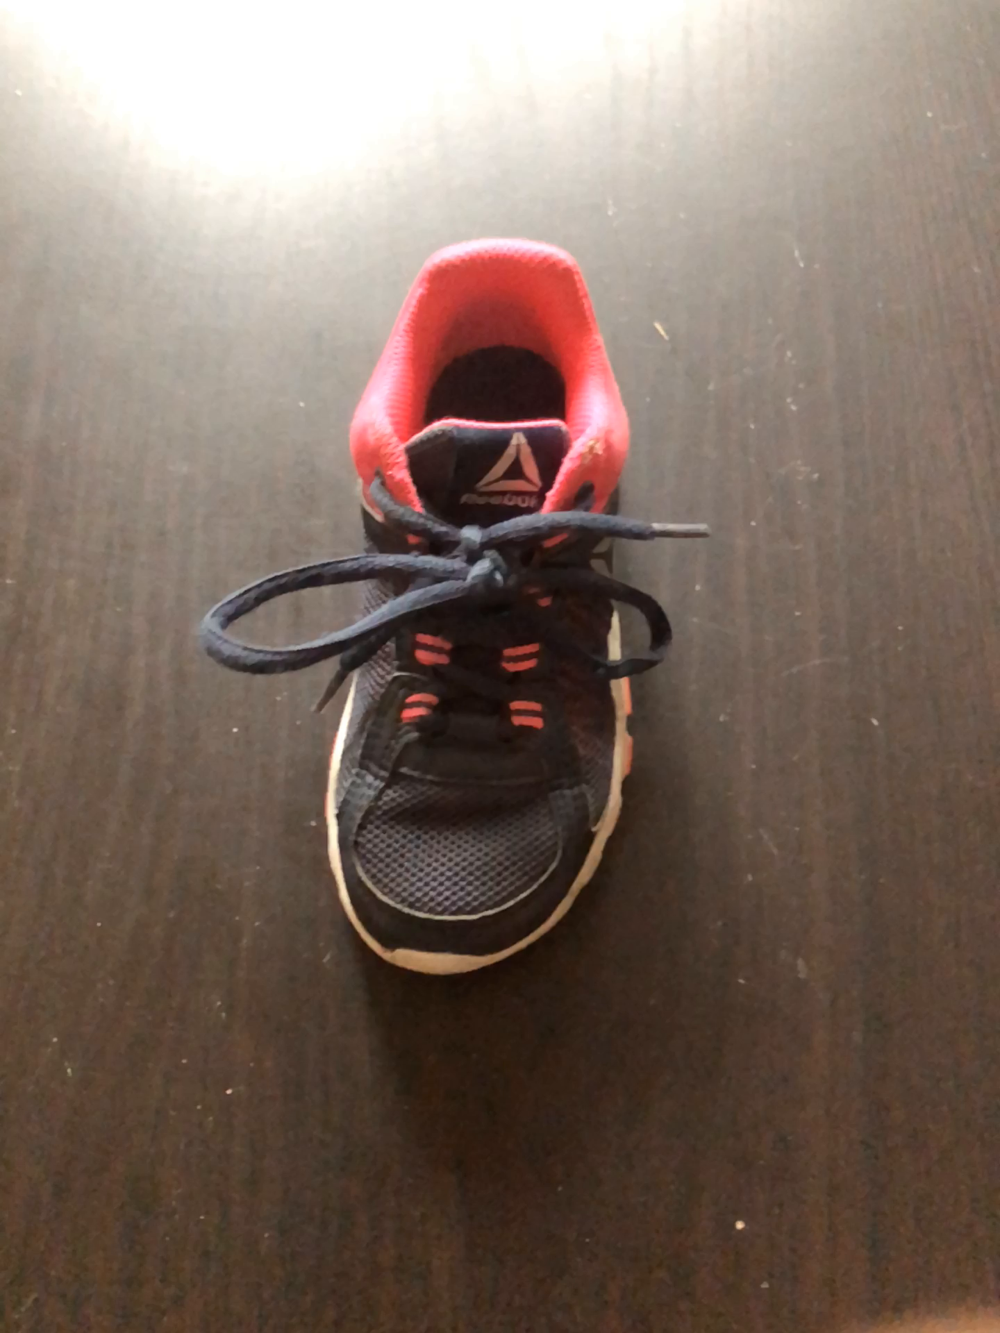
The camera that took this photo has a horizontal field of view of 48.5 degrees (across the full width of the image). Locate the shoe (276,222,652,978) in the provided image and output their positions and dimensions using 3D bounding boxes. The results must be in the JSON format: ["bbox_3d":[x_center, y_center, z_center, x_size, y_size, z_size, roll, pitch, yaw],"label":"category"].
[{"bbox_3d":[-0.004,-0.018,0.307,0.080,0.070,0.193,3,71,1],"label":"shoe"}]
